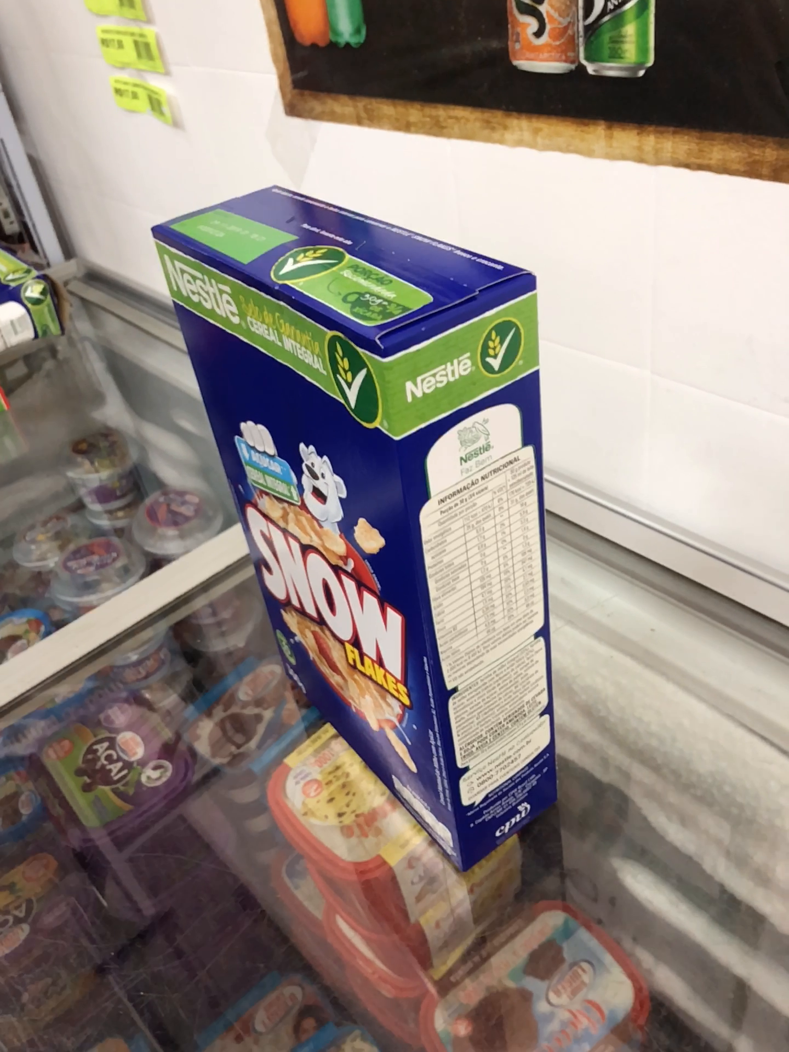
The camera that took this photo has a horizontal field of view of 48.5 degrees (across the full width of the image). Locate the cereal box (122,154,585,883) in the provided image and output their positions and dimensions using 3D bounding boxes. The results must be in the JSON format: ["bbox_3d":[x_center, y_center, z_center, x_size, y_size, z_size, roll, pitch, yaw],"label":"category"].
[{"bbox_3d":[-0.009,-0.001,0.370,0.070,0.258,0.171,-29,41,-23],"label":"cereal box"}]
